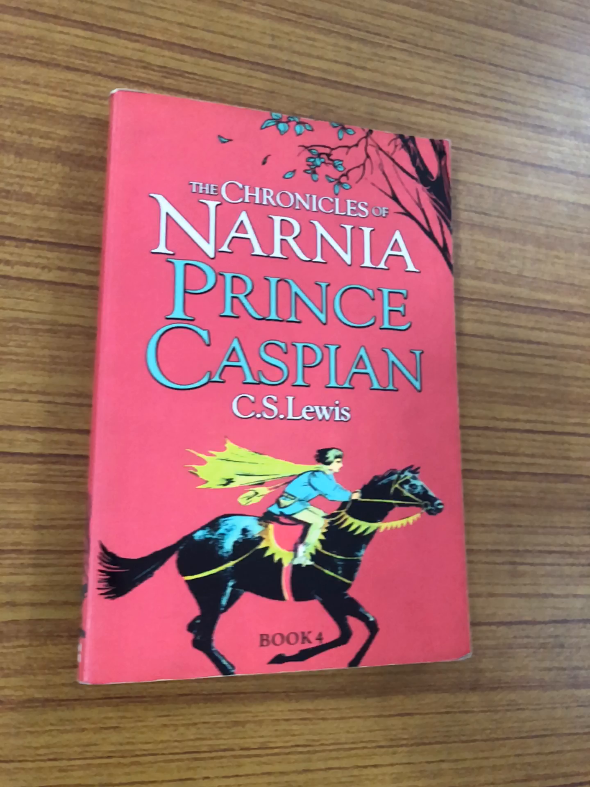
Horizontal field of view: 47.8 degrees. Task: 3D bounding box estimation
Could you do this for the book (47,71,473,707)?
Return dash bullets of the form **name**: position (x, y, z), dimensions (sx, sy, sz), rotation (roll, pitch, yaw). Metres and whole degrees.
- **book**: position (-0.008, -0.003, 0.228), dimensions (0.130, 0.030, 0.190), rotation (3, 81, -15)
